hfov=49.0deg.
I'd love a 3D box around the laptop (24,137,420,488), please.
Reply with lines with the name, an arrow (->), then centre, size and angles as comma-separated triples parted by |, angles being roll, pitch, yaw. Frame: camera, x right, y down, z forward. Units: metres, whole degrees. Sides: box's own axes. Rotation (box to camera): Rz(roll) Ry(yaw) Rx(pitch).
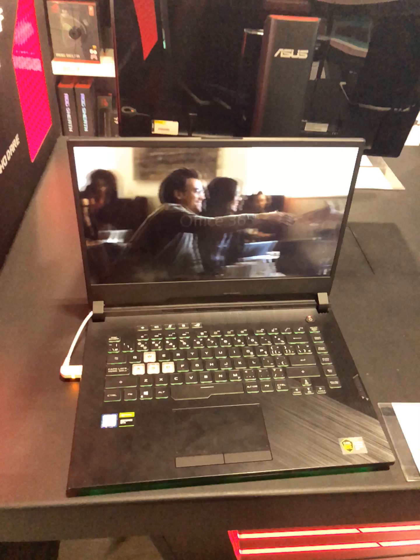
laptop -> 0.025, 0.025, 0.530 | 0.360, 0.268, 0.276 | -2, 41, -7
